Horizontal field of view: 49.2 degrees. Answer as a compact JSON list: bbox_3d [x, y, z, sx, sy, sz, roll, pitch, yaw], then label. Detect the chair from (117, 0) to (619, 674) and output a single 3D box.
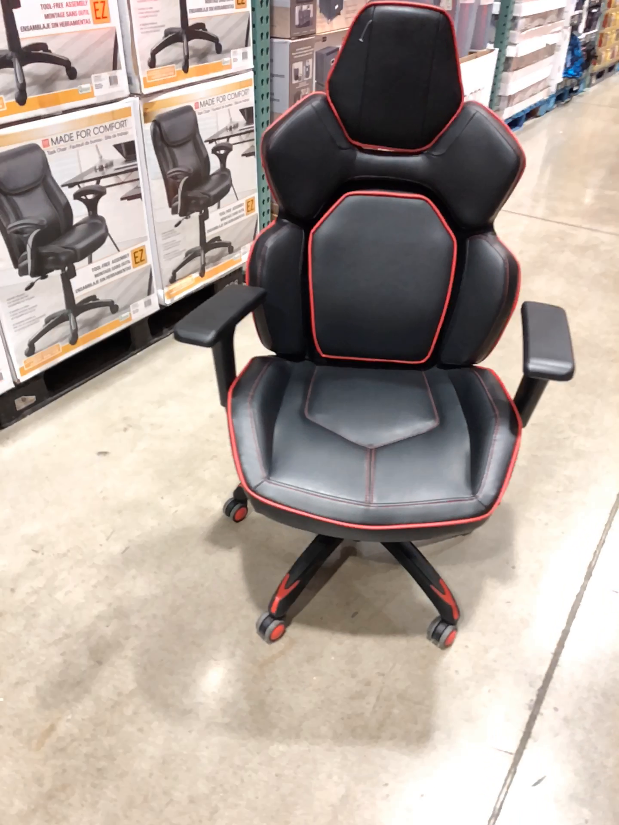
[{"bbox_3d":[0.136,-0.145,1.374,0.720,1.145,0.723,2,35,0],"label":"chair"}]
